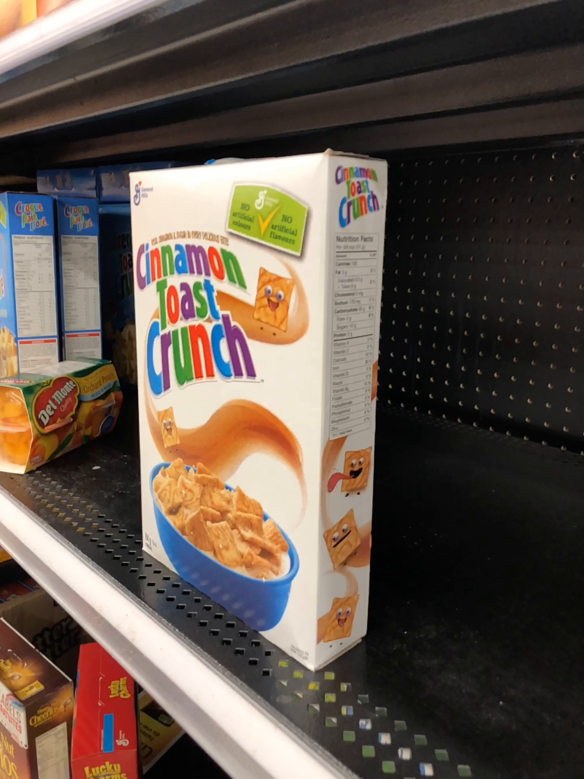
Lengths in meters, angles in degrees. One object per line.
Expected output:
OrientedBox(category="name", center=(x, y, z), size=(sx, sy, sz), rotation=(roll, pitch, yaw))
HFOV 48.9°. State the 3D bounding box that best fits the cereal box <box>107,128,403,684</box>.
OrientedBox(category="cereal box", center=(-0.037, -0.002, 0.404), size=(0.050, 0.279, 0.211), rotation=(-11, 17, -41))
